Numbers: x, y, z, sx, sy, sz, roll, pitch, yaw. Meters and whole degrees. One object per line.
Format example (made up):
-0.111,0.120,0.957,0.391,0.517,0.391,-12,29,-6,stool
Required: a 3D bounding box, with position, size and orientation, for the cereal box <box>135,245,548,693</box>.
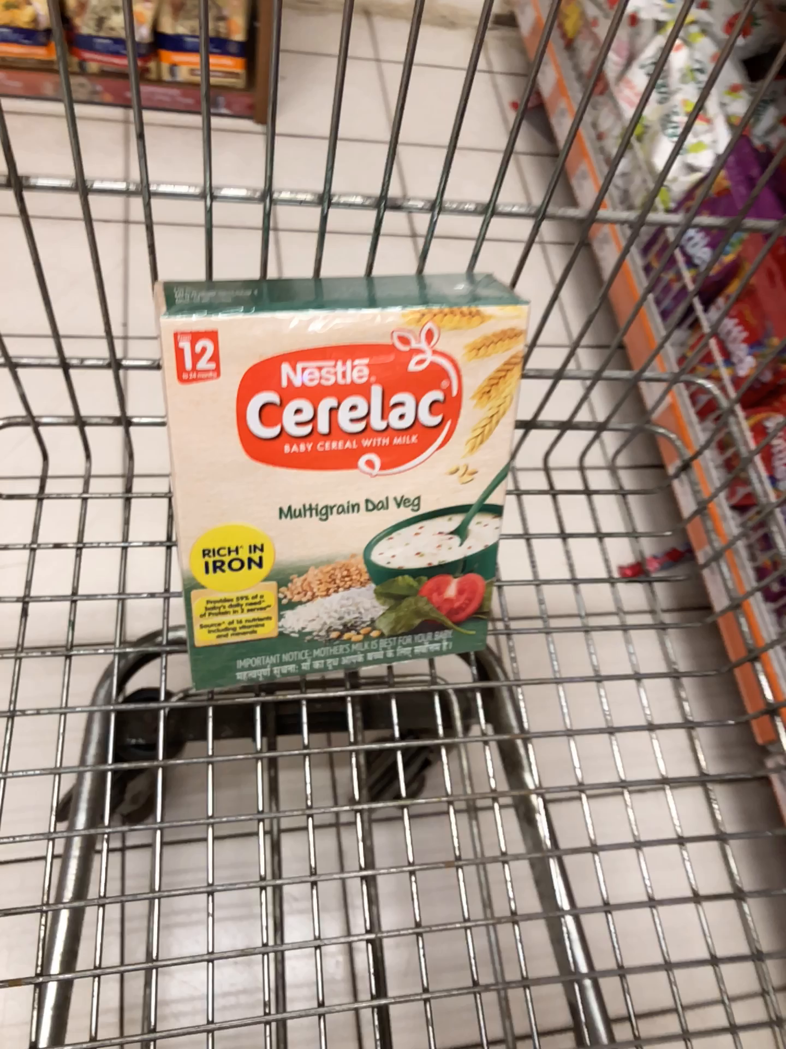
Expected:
-0.026,-0.024,0.401,0.160,0.189,0.050,-6,30,-16,cereal box
